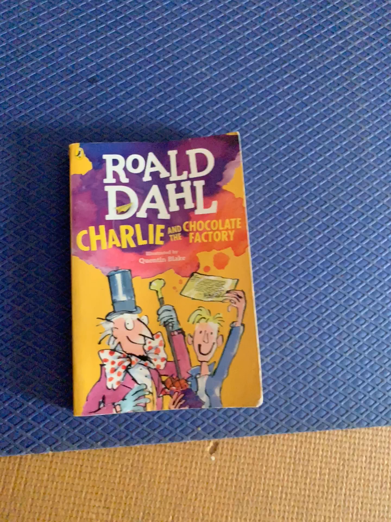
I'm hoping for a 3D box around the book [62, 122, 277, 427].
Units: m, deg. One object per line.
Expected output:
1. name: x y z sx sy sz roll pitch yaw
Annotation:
1. book: -0.022 0.001 0.297 0.140 0.020 0.210 -3 80 -7
